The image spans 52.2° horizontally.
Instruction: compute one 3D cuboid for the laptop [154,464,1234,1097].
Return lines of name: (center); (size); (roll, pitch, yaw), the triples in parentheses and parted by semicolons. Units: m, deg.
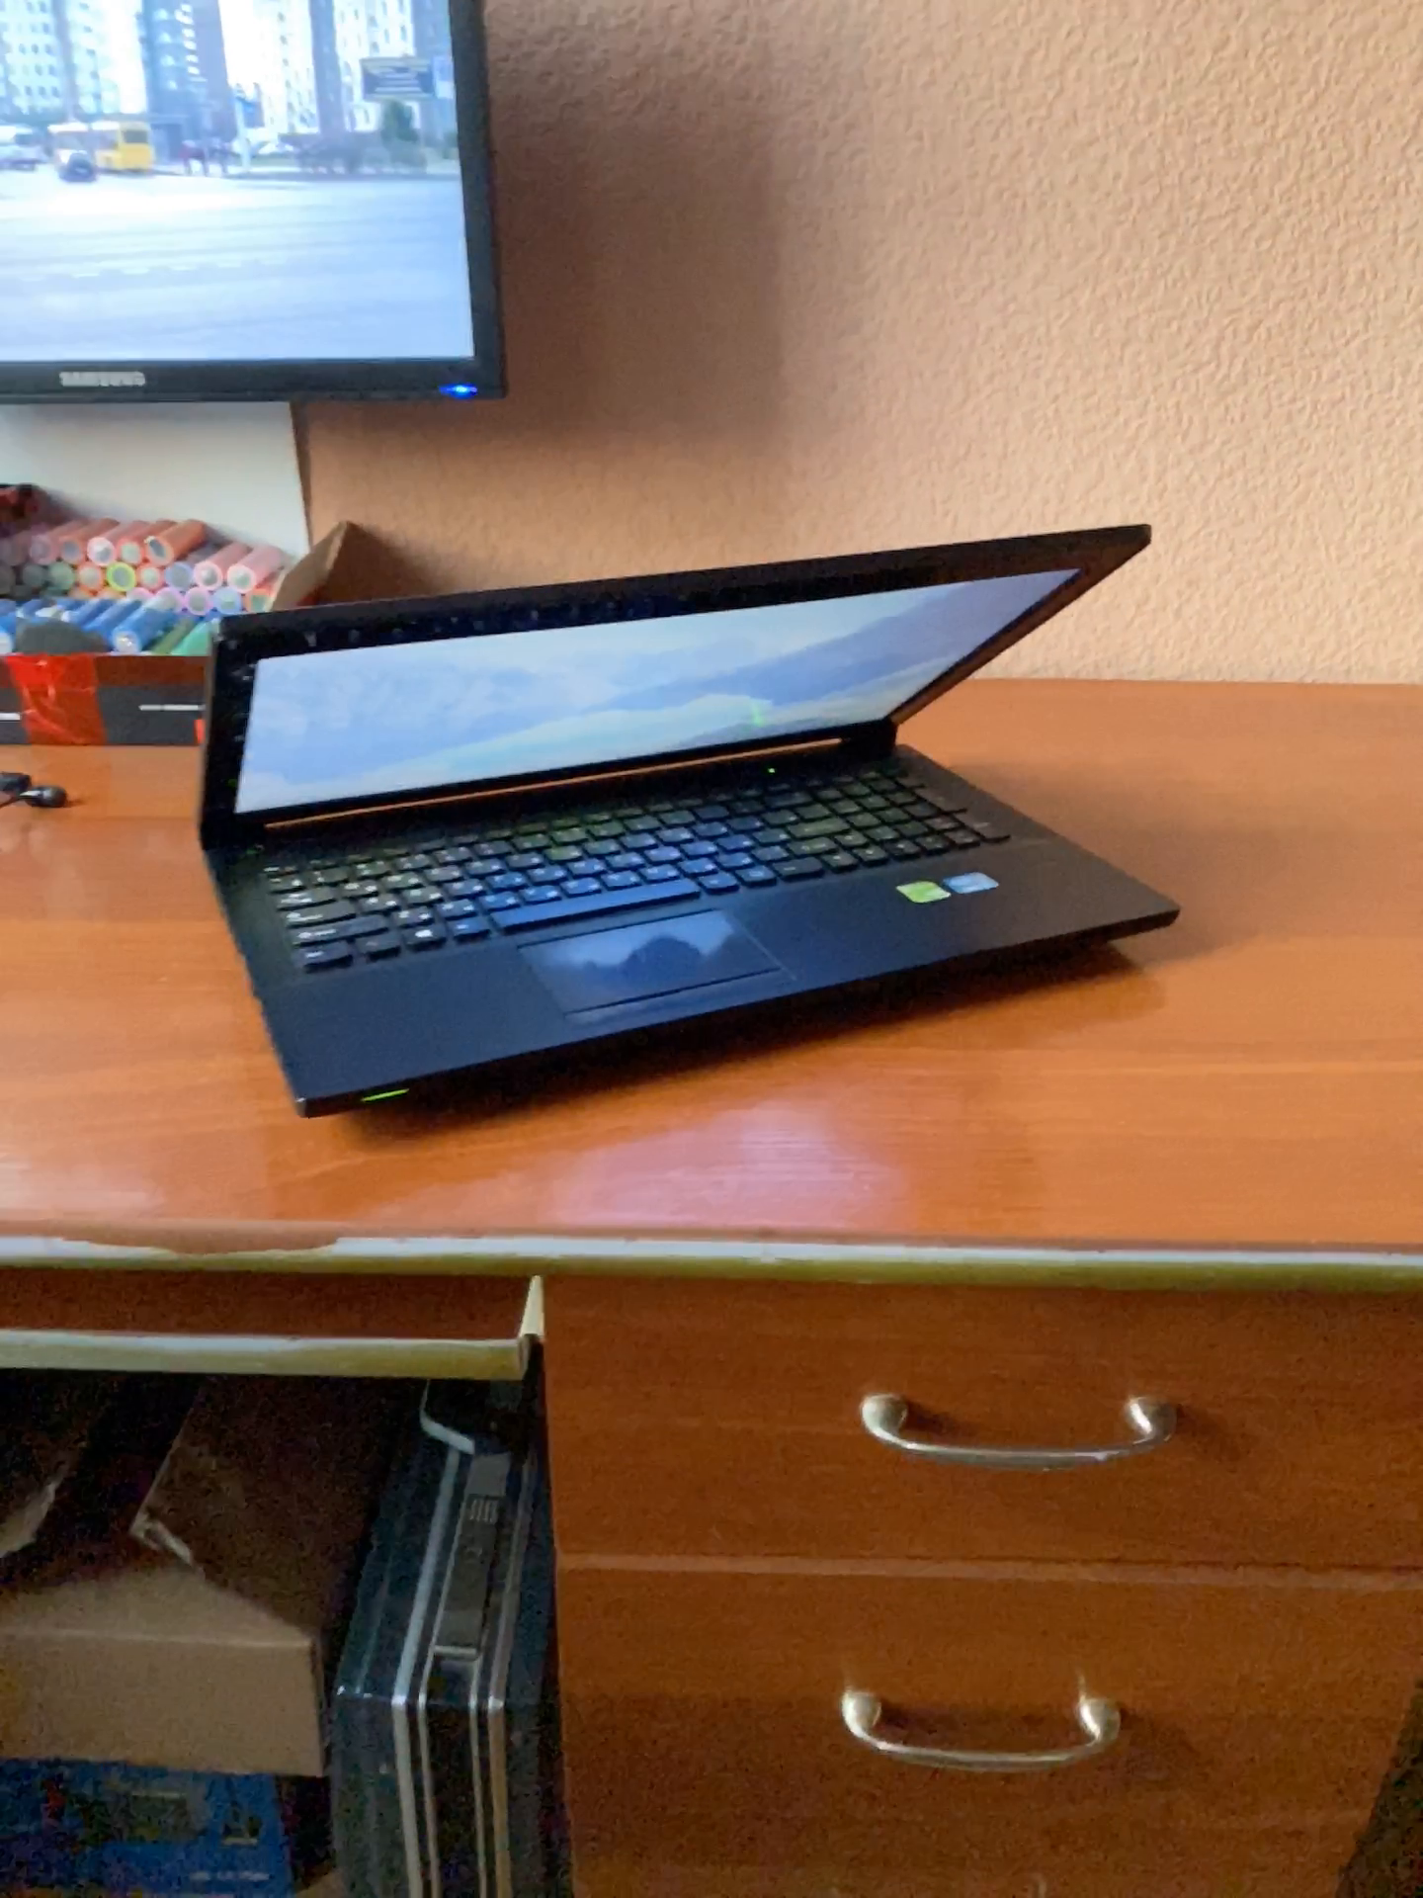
laptop: (-0.019, -0.105, 0.635); (0.377, 0.149, 0.257); (-11, 29, -23)
